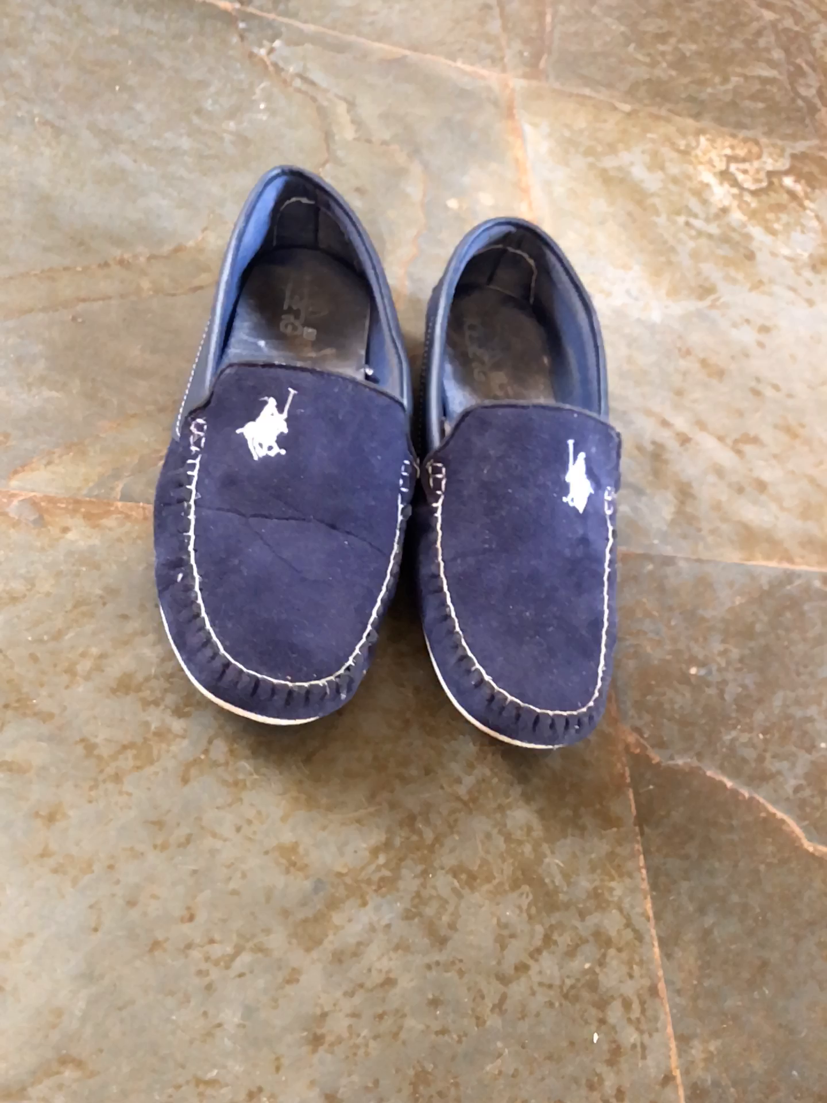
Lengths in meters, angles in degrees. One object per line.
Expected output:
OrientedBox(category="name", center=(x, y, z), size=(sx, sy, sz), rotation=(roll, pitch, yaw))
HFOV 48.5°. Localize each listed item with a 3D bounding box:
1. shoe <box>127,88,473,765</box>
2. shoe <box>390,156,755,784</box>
OrientedBox(category="shoe", center=(-0.046, -0.058, 0.373), size=(0.100, 0.089, 0.261), rotation=(7, 58, -15))
OrientedBox(category="shoe", center=(0.052, -0.042, 0.404), size=(0.100, 0.089, 0.261), rotation=(7, 58, -15))
